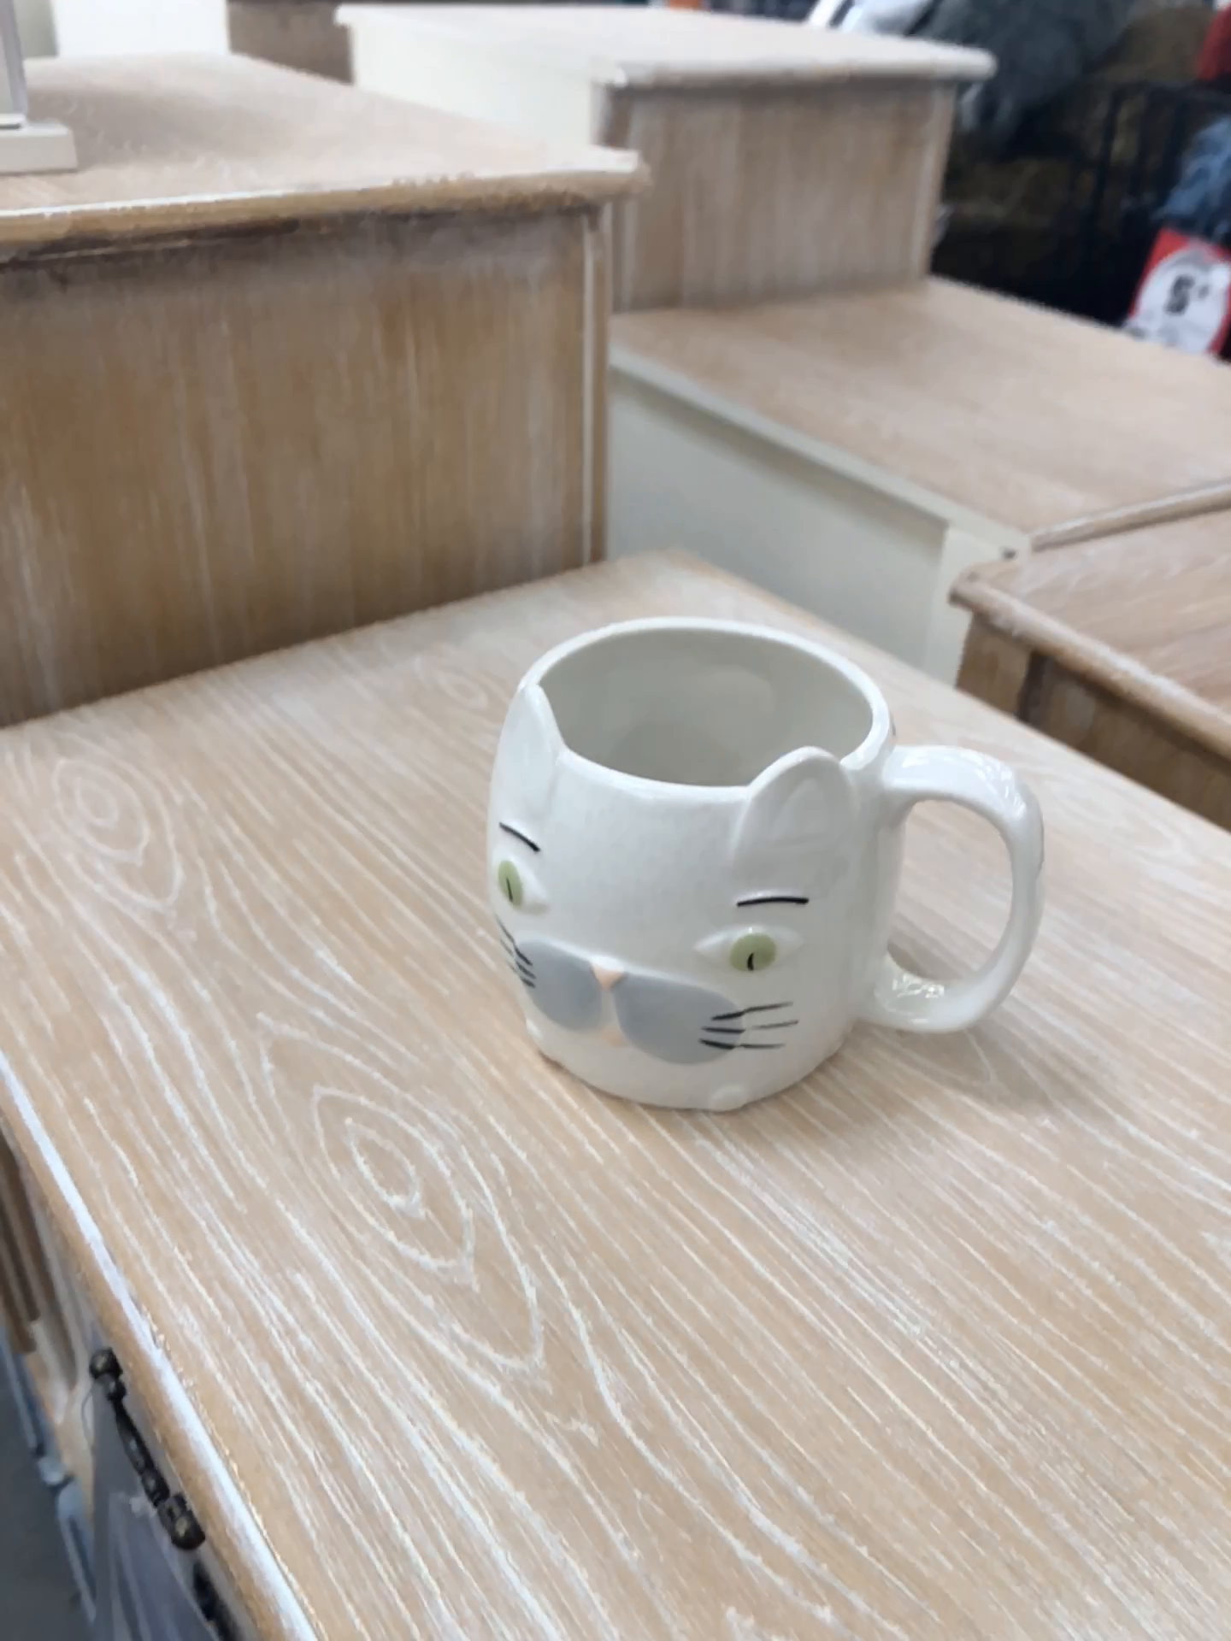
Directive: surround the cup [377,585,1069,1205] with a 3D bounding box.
[{"bbox_3d":[0.027,0.011,0.308,0.124,0.073,0.092,12,40,15],"label":"cup"}]
